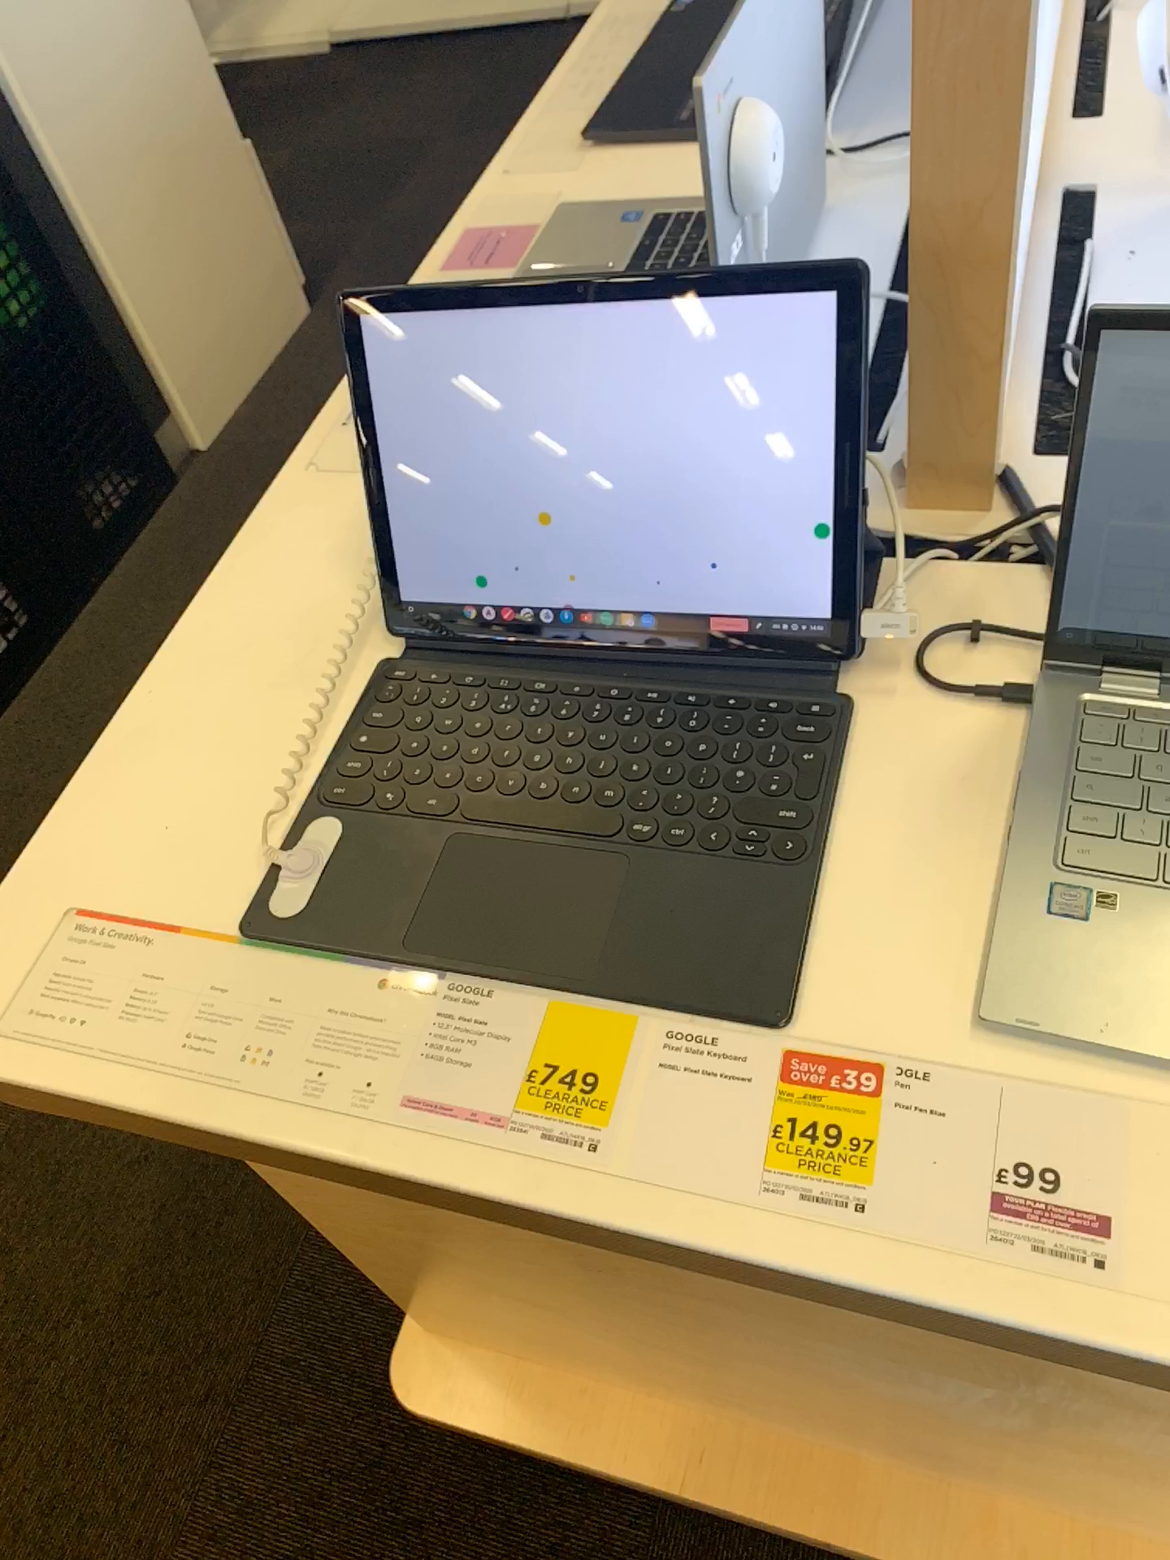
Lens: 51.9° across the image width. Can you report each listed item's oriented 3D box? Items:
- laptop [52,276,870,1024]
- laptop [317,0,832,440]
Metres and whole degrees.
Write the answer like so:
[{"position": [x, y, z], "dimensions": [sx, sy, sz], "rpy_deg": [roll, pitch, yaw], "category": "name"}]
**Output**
[{"position": [-0.024, -0.077, 0.597], "dimensions": [0.285, 0.187, 0.295], "rpy_deg": [5, 53, 18], "category": "laptop"}, {"position": [0.022, -0.436, 0.844], "dimensions": [0.233, 0.222, 0.321], "rpy_deg": [7, 54, 19], "category": "laptop"}]
